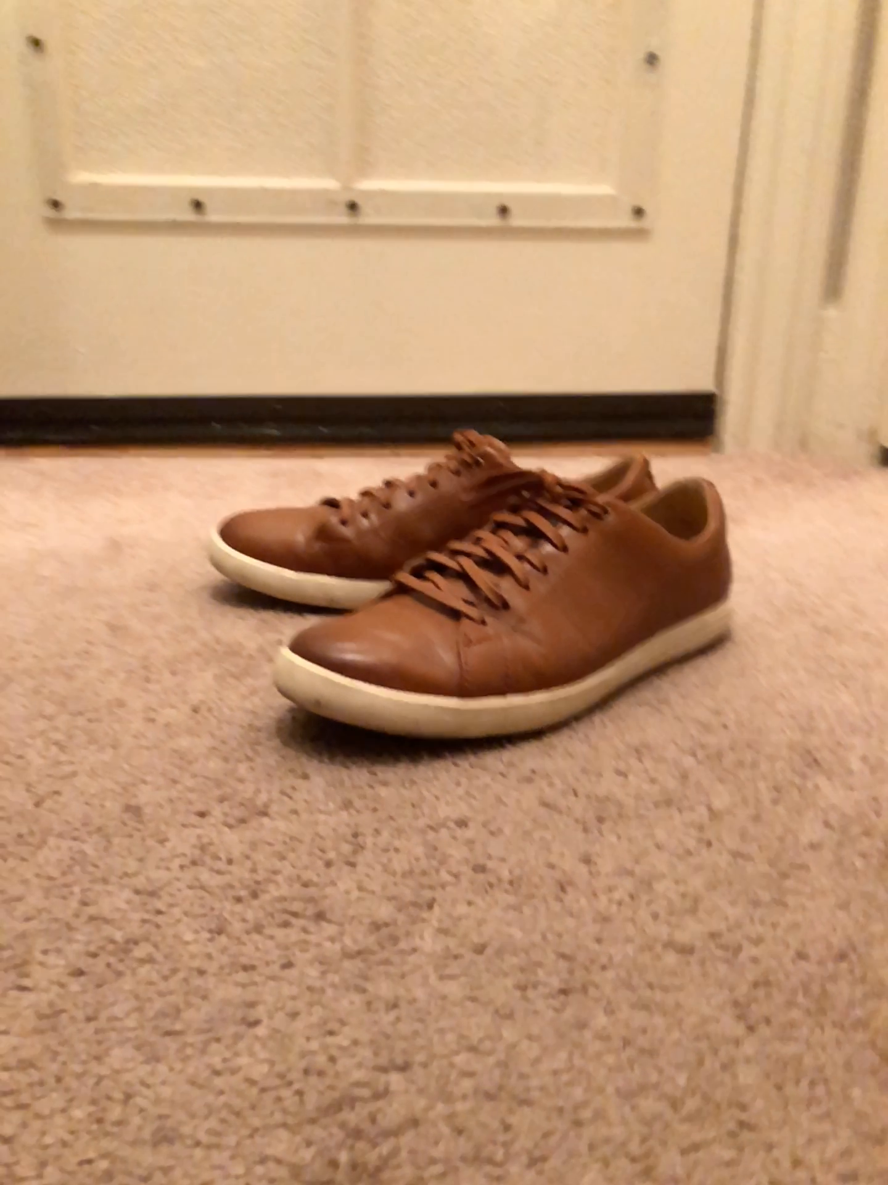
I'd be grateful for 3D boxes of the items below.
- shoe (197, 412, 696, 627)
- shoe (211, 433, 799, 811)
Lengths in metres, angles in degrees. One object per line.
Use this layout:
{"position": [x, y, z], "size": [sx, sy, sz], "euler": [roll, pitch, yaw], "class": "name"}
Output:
{"position": [-0.003, -0.053, 0.624], "size": [0.285, 0.102, 0.118], "euler": [-2, 19, -9], "class": "shoe"}
{"position": [0.043, -0.007, 0.495], "size": [0.286, 0.100, 0.117], "euler": [-15, 25, -38], "class": "shoe"}
